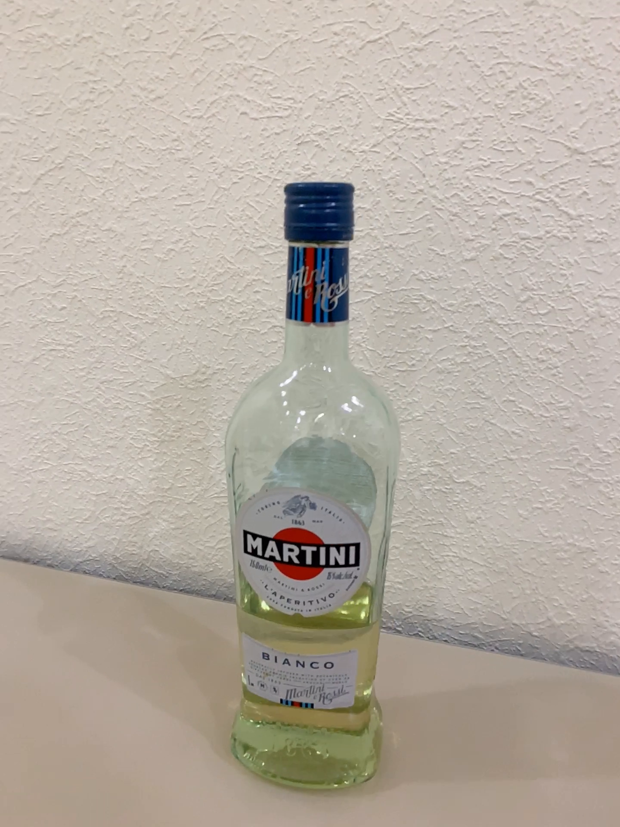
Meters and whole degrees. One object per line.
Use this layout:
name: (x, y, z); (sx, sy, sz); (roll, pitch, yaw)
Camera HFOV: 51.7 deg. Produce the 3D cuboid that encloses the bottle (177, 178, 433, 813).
bottle: (0.000, 0.044, 0.331); (0.100, 0.309, 0.080); (5, 18, 10)
